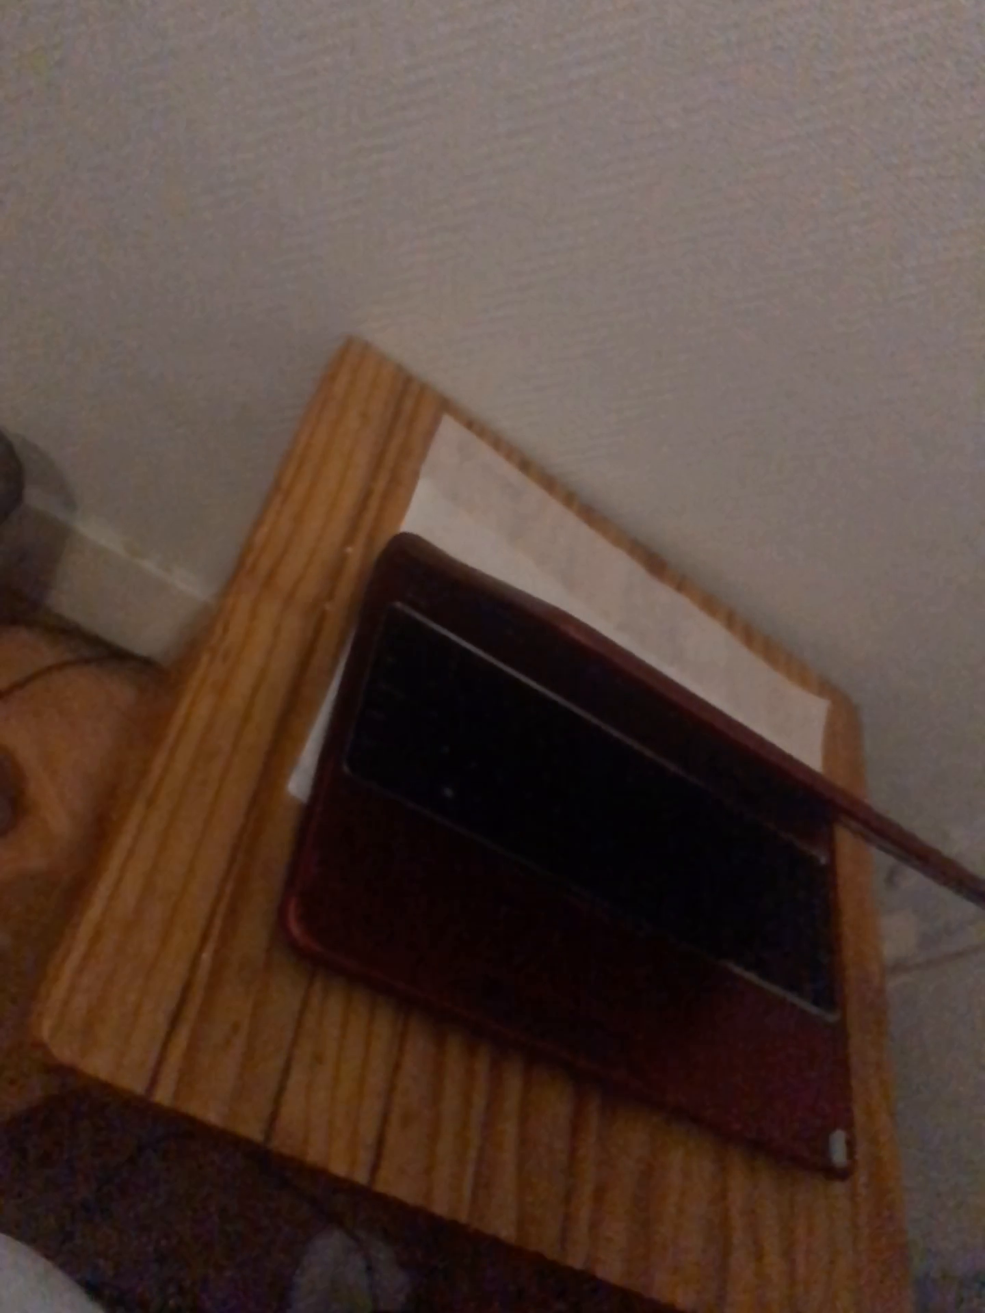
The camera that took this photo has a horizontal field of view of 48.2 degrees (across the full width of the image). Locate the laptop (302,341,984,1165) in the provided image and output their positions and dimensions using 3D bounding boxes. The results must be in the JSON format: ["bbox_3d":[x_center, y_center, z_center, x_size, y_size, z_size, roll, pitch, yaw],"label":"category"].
[{"bbox_3d":[0.126,0.072,0.577,0.373,0.168,0.254,32,44,-27],"label":"laptop"}]
